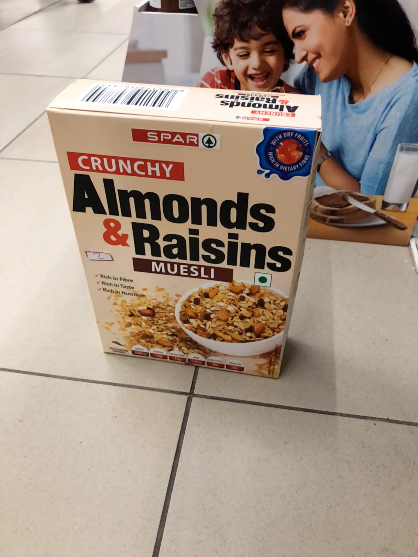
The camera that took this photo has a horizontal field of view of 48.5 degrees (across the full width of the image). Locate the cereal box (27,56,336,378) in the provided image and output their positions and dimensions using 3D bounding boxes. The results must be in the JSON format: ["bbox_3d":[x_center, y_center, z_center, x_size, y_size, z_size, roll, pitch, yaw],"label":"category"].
[{"bbox_3d":[-0.015,-0.033,0.364,0.180,0.238,0.060,7,41,8],"label":"cereal box"}]
